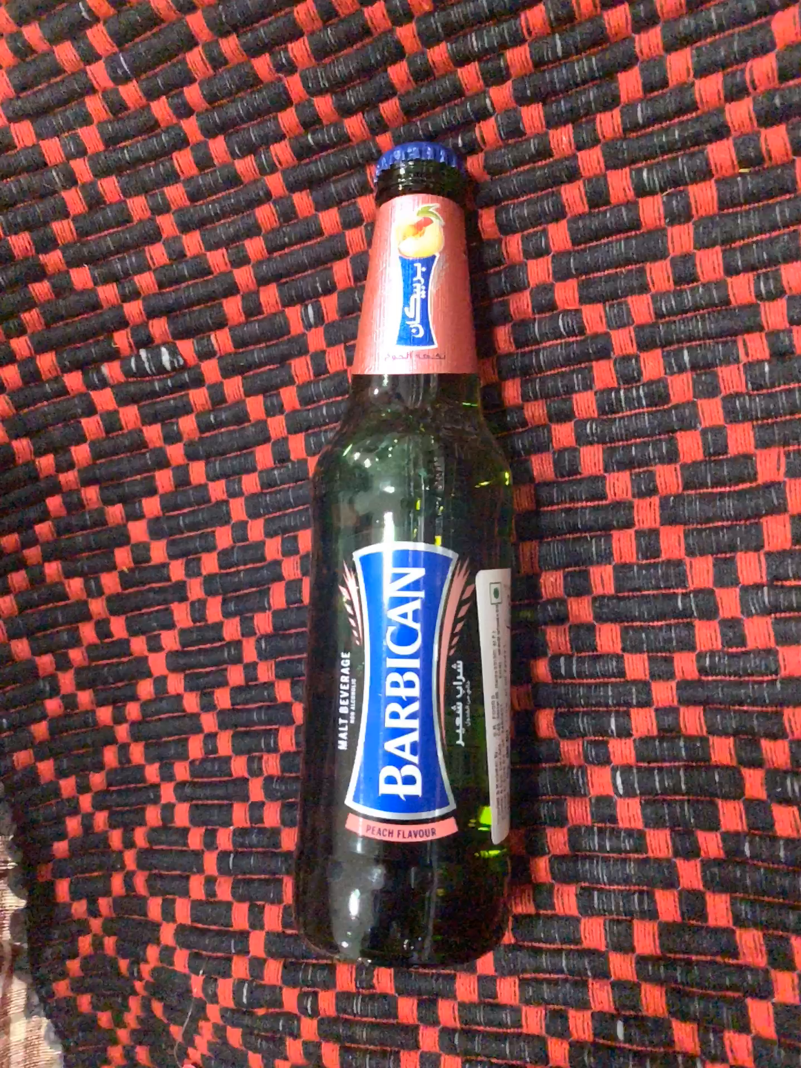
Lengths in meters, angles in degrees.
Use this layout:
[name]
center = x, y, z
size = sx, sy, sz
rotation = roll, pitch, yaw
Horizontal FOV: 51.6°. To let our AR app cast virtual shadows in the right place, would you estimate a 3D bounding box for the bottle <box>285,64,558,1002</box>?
[bottle]
center = 0.006, -0.004, 0.225
size = 0.050, 0.050, 0.220
rotation = 165, 108, -64
